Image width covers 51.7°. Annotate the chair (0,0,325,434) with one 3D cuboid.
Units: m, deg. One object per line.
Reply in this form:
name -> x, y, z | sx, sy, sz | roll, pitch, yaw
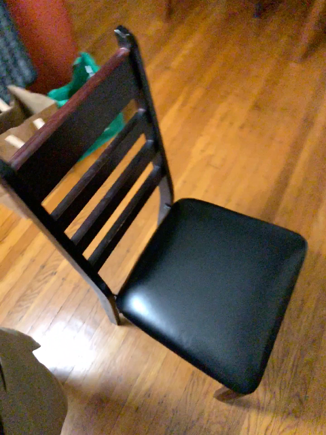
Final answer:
chair -> 0.100, 0.101, 0.786 | 0.550, 0.868, 0.491 | 24, 64, 11
